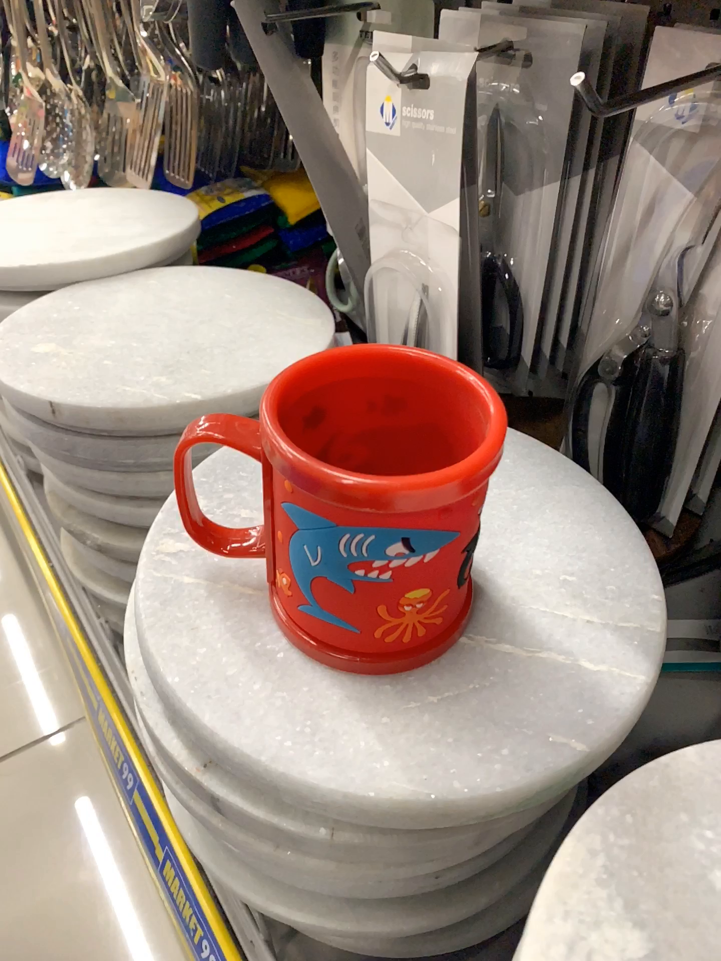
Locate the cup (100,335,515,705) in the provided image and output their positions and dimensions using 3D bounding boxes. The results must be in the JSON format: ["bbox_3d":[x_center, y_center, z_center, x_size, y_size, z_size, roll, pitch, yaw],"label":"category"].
[{"bbox_3d":[-0.012,0.013,0.273,0.120,0.100,0.080,4,37,6],"label":"cup"}]
